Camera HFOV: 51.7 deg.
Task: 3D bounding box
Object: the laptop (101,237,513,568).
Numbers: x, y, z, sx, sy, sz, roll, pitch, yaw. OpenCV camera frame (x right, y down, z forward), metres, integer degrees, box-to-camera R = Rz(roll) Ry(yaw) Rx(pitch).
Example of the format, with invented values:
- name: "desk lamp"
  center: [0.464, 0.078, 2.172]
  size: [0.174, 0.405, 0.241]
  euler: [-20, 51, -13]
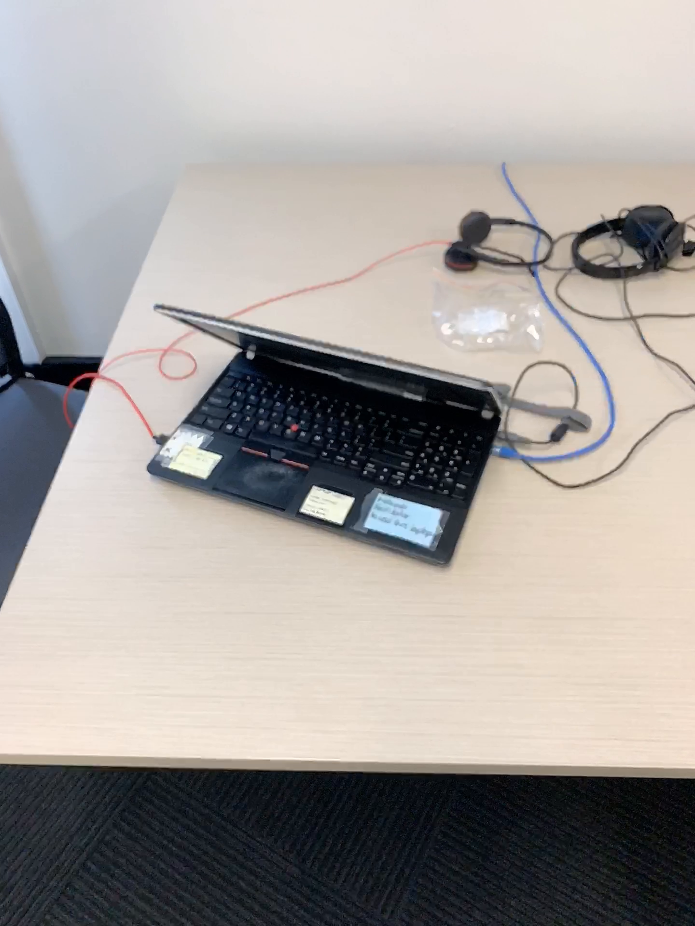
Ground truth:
- name: "laptop"
  center: [-0.026, -0.077, 0.712]
  size: [0.326, 0.157, 0.227]
  euler: [15, 45, 17]
